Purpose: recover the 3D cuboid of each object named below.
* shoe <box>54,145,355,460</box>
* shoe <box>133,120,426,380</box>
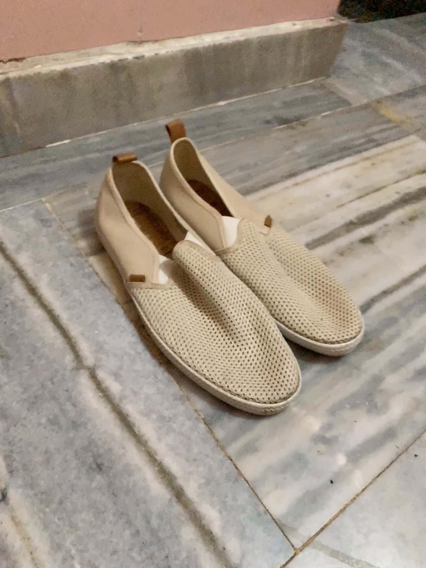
[{"bbox_3d":[-0.029,-0.008,0.427,0.116,0.080,0.310,-25,57,-28],"label":"shoe"},{"bbox_3d":[0.051,-0.057,0.482,0.116,0.080,0.310,-30,60,-31],"label":"shoe"}]
